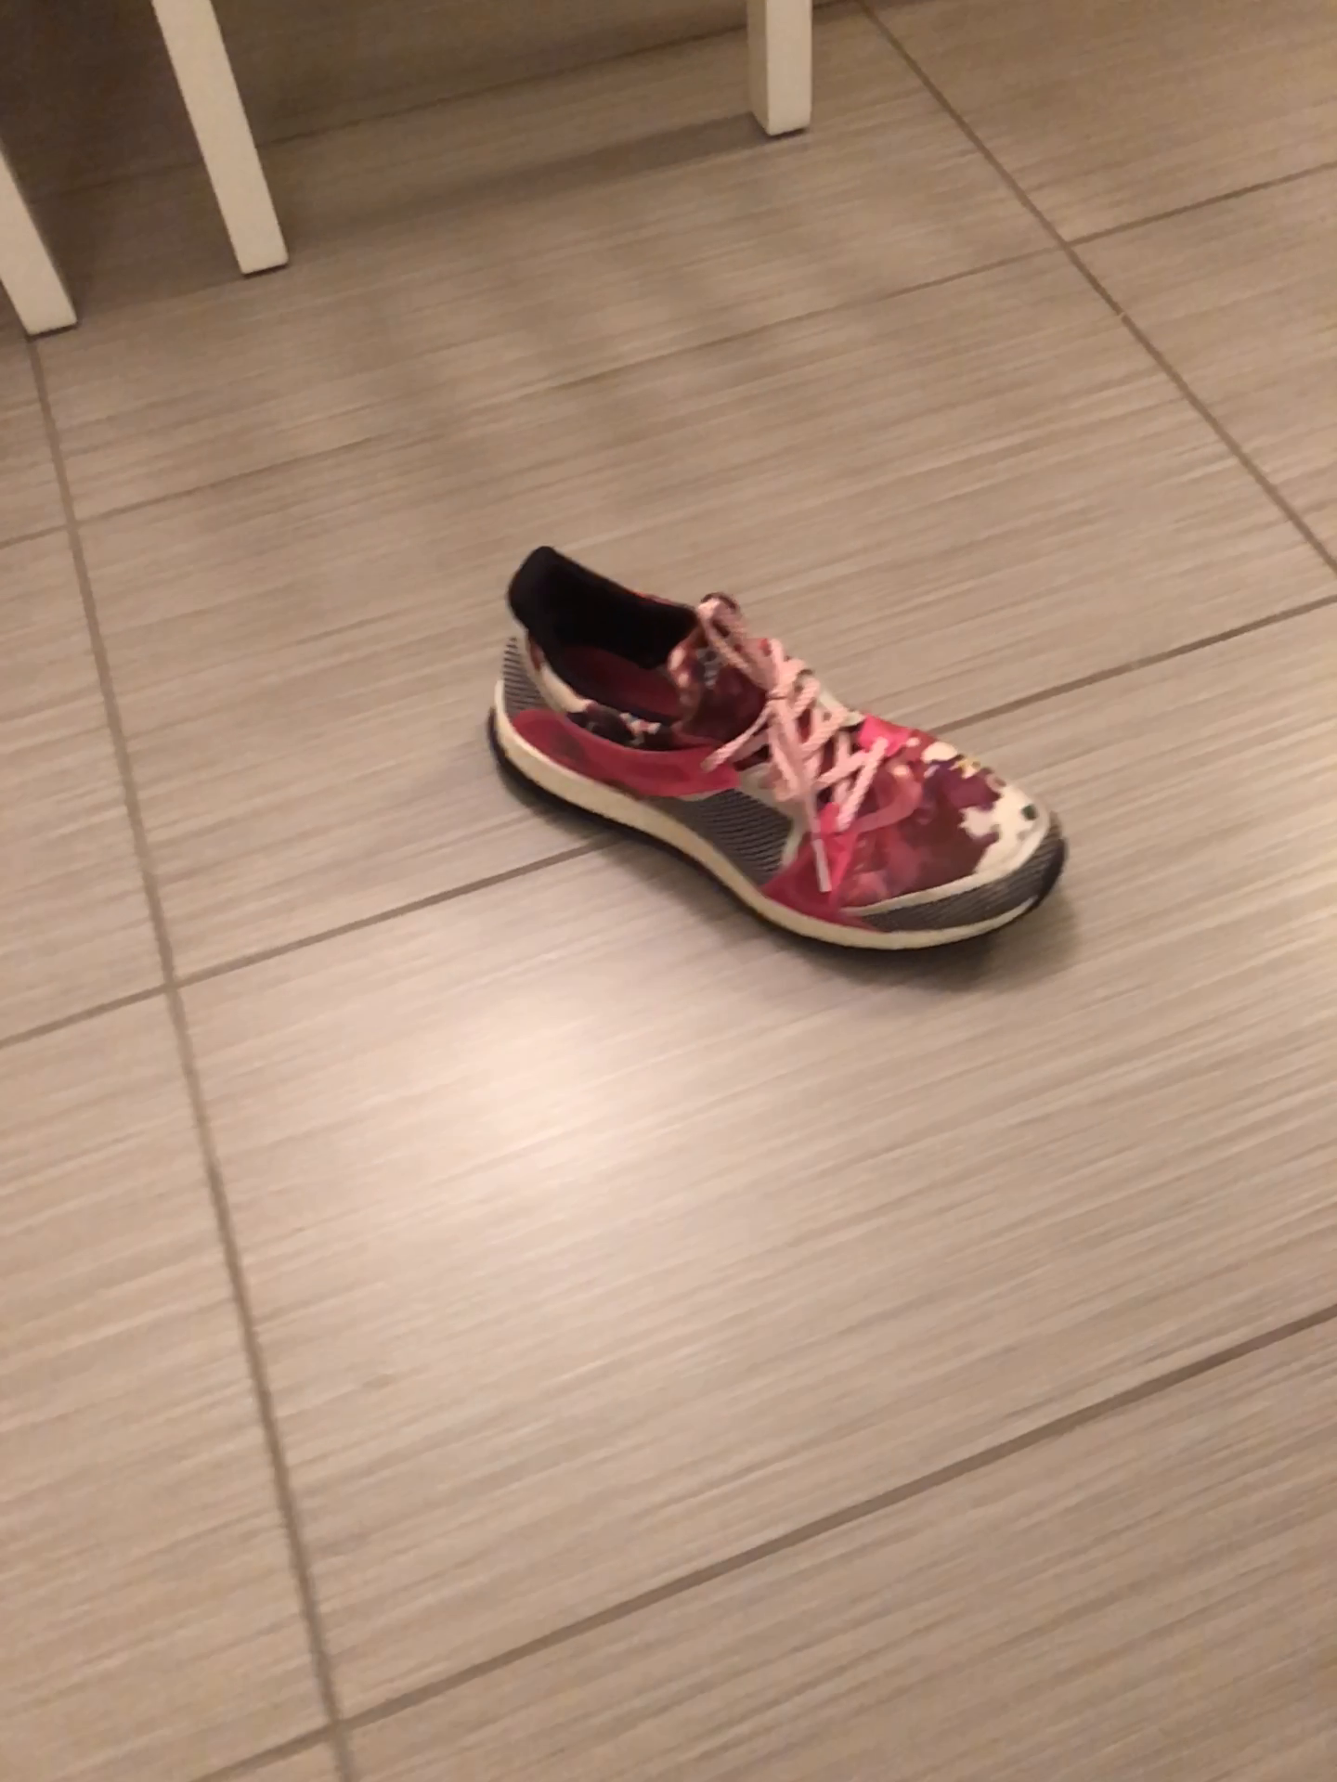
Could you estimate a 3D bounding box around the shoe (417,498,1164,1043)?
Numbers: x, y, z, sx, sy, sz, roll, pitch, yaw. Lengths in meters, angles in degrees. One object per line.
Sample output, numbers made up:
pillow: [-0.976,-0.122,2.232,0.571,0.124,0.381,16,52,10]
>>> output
shoe: [0.047,-0.057,0.631,0.280,0.090,0.110,23,63,17]
